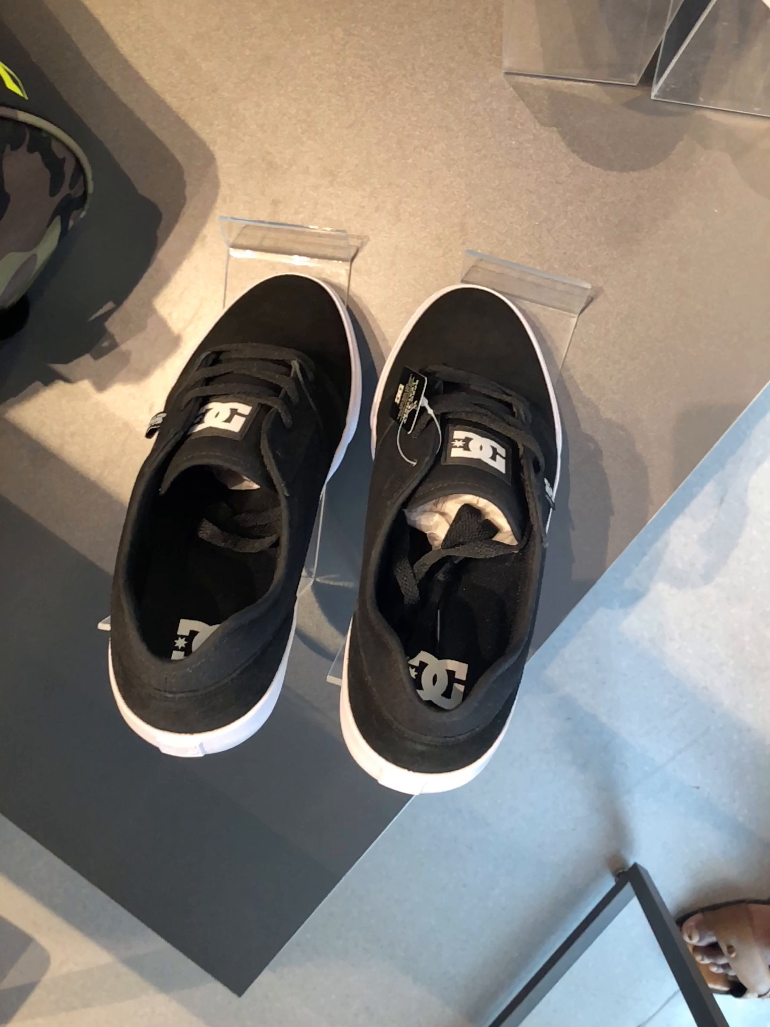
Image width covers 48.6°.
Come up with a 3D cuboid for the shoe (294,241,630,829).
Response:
[{"bbox_3d":[0.036,0.008,0.390,0.106,0.107,0.229,12,62,0],"label":"shoe"}]

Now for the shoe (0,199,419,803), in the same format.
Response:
[{"bbox_3d":[-0.059,-0.008,0.377,0.106,0.107,0.229,10,62,0],"label":"shoe"}]
